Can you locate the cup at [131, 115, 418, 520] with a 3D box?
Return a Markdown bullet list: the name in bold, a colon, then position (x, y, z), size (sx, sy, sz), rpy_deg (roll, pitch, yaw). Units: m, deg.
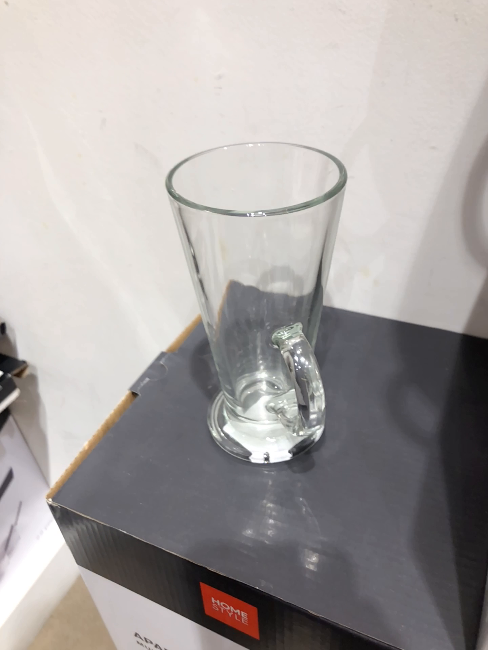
- **cup**: position (0.012, -0.003, 0.257), size (0.080, 0.149, 0.091), rpy_deg (-18, 39, -15)
